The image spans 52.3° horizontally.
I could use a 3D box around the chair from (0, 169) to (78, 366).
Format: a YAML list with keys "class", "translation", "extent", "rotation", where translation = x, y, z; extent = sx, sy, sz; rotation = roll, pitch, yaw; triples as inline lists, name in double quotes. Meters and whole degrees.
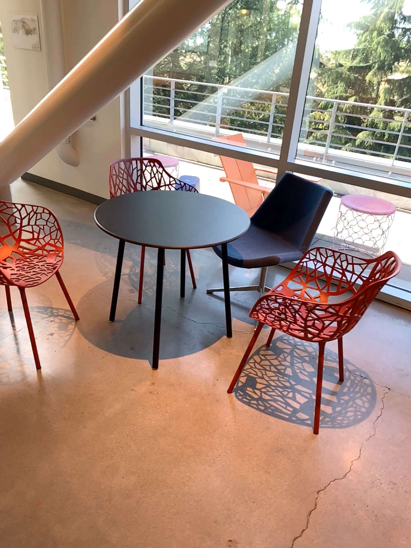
- class: "chair"
  translation: [-1.065, -0.060, 2.151]
  extent: [0.530, 0.766, 0.563]
  rotation: [9, 28, 9]

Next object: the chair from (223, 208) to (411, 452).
- class: "chair"
  translation: [0.496, 0.205, 1.882]
  extent: [0.562, 0.766, 0.552]
  rotation: [21, 32, 29]

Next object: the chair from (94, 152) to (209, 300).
- class: "chair"
  translation: [-0.372, -0.339, 2.737]
  extent: [0.560, 0.766, 0.533]
  rotation: [-9, 31, -24]

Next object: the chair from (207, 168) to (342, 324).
- class: "chair"
  translation: [0.385, -0.204, 2.629]
  extent: [0.510, 0.766, 0.563]
  rotation: [-8, 30, -23]
